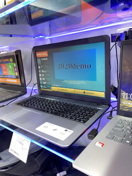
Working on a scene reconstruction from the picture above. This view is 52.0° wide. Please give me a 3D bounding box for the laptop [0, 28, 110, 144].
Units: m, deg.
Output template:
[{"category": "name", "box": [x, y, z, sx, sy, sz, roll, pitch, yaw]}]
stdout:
[{"category": "laptop", "box": [-0.077, -0.037, 0.477, 0.372, 0.232, 0.262, 5, 17, 38]}]
